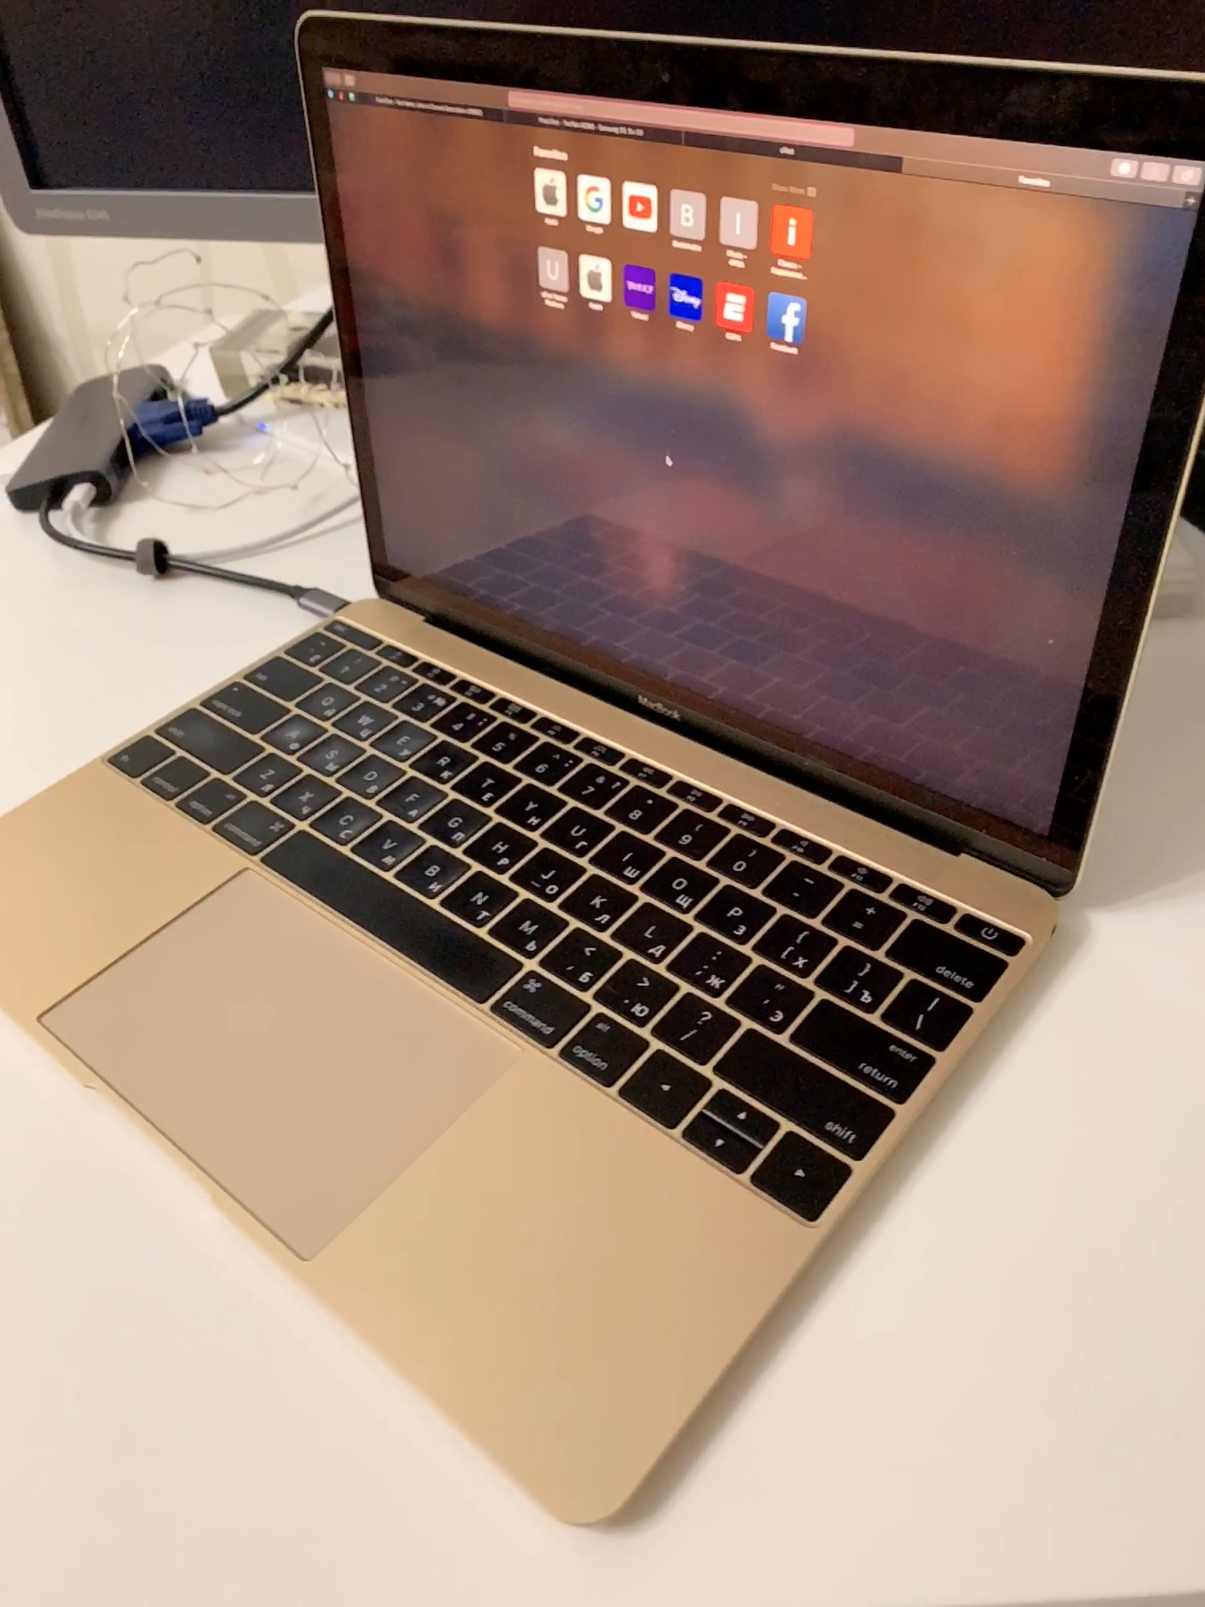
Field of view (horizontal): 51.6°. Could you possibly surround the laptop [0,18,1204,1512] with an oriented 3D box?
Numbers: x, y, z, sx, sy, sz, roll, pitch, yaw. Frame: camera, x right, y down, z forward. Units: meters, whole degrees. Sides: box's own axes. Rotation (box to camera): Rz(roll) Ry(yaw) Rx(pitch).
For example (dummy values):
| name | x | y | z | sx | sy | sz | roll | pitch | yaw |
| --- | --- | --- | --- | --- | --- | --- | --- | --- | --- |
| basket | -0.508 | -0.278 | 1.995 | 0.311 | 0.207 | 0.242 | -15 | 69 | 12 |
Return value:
| name | x | y | z | sx | sy | sz | roll | pitch | yaw |
| --- | --- | --- | --- | --- | --- | --- | --- | --- | --- |
| laptop | -0.043 | -0.050 | 0.272 | 0.248 | 0.168 | 0.197 | 26 | 49 | 32 |
